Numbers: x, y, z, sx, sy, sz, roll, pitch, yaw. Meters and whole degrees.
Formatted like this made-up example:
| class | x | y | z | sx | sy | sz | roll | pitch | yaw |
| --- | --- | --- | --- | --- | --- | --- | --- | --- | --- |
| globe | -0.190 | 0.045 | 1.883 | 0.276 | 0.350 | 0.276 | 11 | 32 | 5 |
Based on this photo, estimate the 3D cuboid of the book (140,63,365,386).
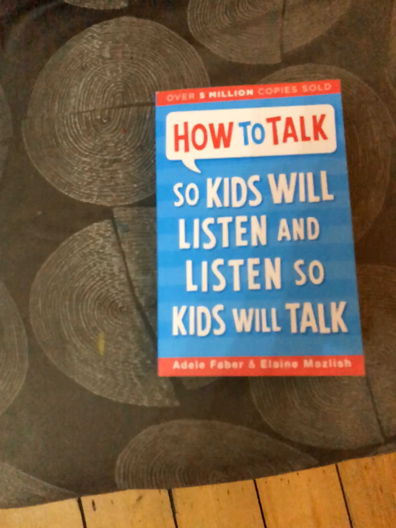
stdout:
| class | x | y | z | sx | sy | sz | roll | pitch | yaw |
| --- | --- | --- | --- | --- | --- | --- | --- | --- | --- |
| book | 0.033 | -0.027 | 0.299 | 0.140 | 0.030 | 0.210 | -2 | 85 | 4 |
